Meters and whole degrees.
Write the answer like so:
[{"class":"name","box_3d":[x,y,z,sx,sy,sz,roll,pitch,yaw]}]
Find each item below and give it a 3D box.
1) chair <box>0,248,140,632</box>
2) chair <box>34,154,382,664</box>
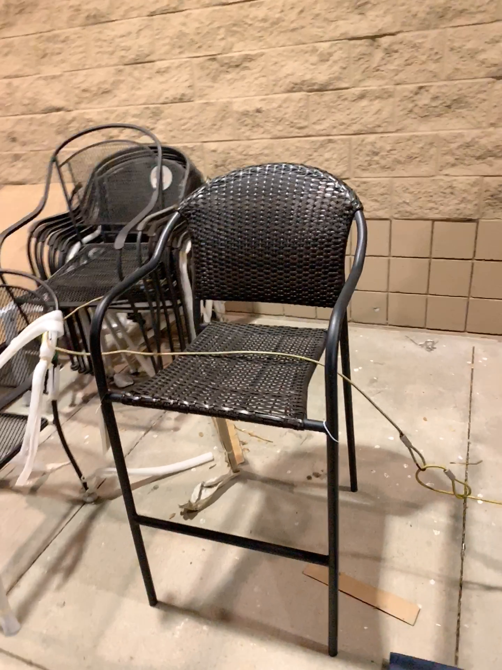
[{"class":"chair","box_3d":[-0.799,0.251,1.488,0.577,0.833,0.610,3,29,17]},{"class":"chair","box_3d":[0.013,0.163,1.355,0.557,1.101,0.610,4,29,19]}]
